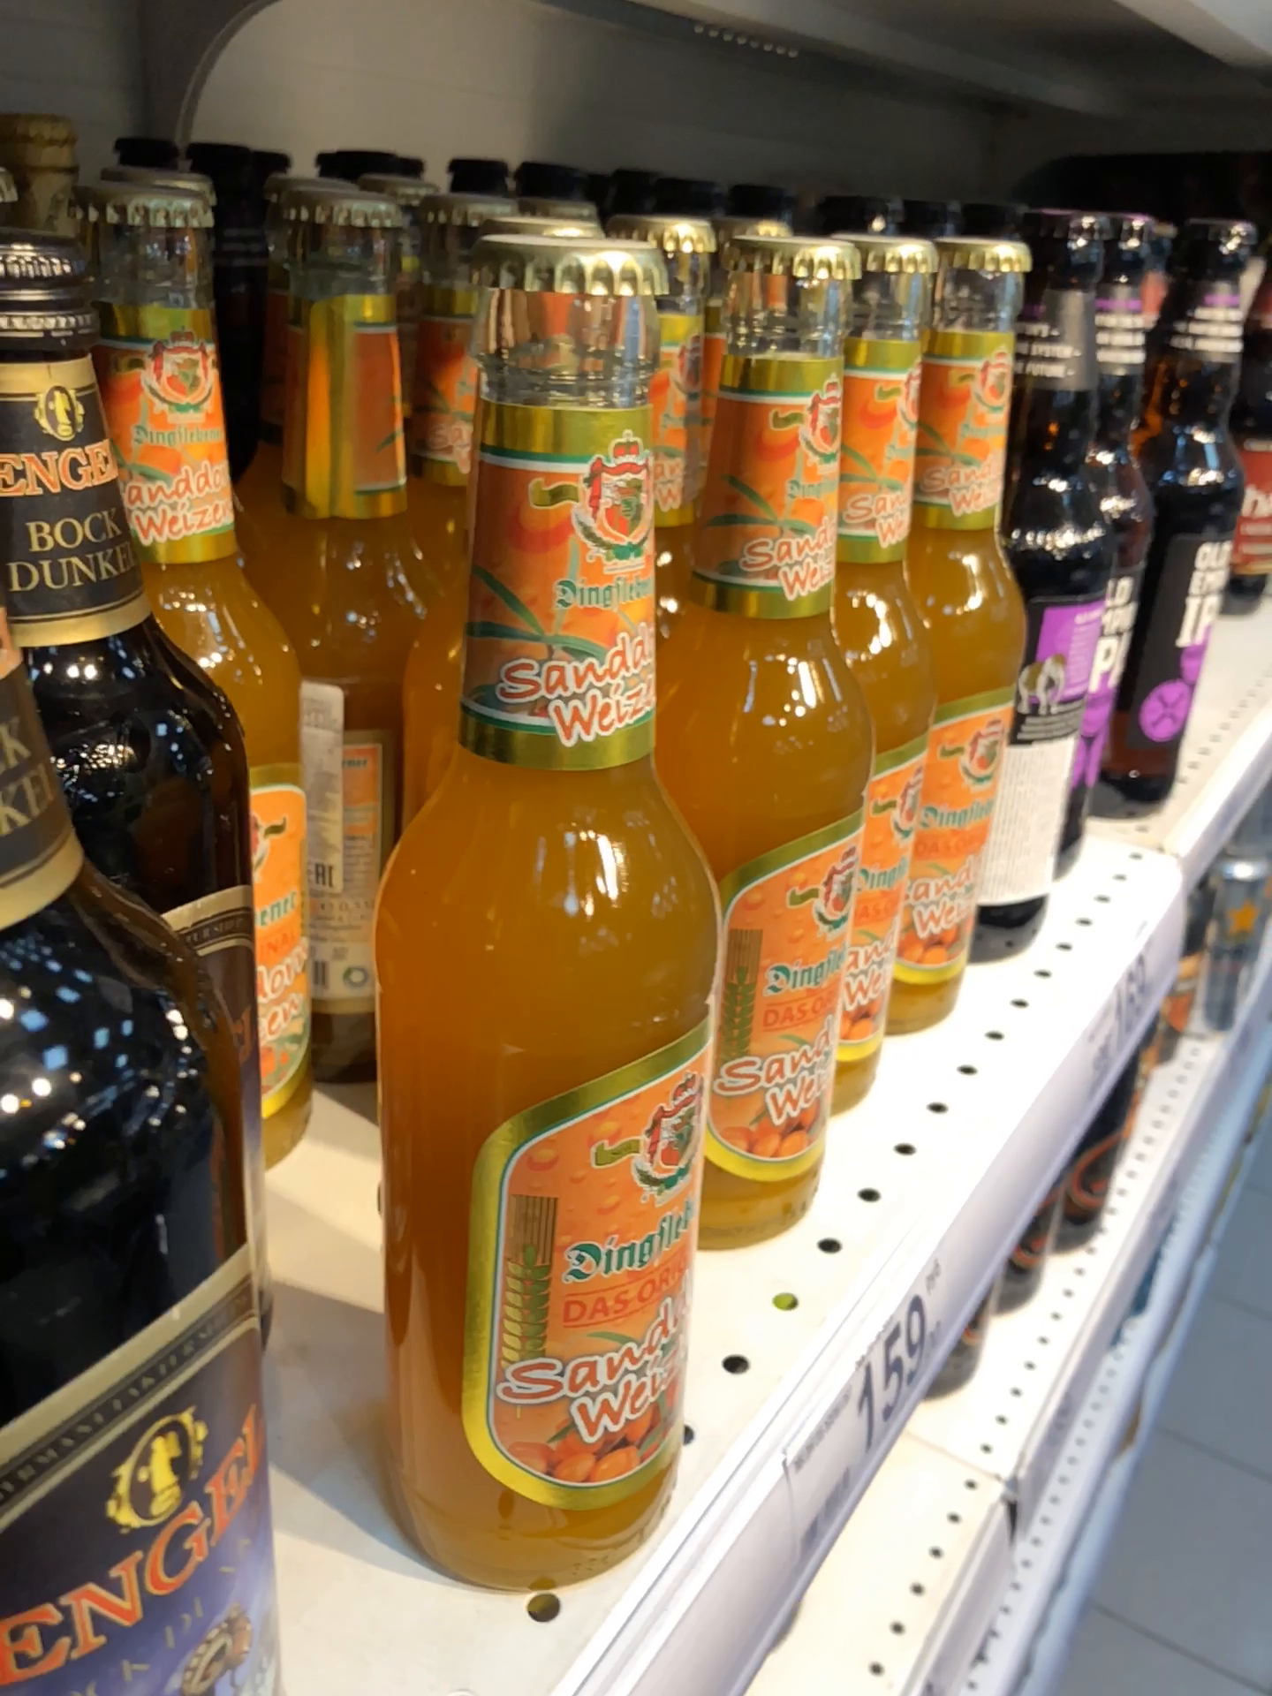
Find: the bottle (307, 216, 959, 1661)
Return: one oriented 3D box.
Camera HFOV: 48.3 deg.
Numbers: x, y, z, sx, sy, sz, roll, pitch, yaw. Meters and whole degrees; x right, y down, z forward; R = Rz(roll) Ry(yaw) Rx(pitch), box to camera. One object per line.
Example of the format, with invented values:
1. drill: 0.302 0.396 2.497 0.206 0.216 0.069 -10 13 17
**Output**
1. bottle: -0.005 0.019 0.241 0.060 0.225 0.070 20 29 32
